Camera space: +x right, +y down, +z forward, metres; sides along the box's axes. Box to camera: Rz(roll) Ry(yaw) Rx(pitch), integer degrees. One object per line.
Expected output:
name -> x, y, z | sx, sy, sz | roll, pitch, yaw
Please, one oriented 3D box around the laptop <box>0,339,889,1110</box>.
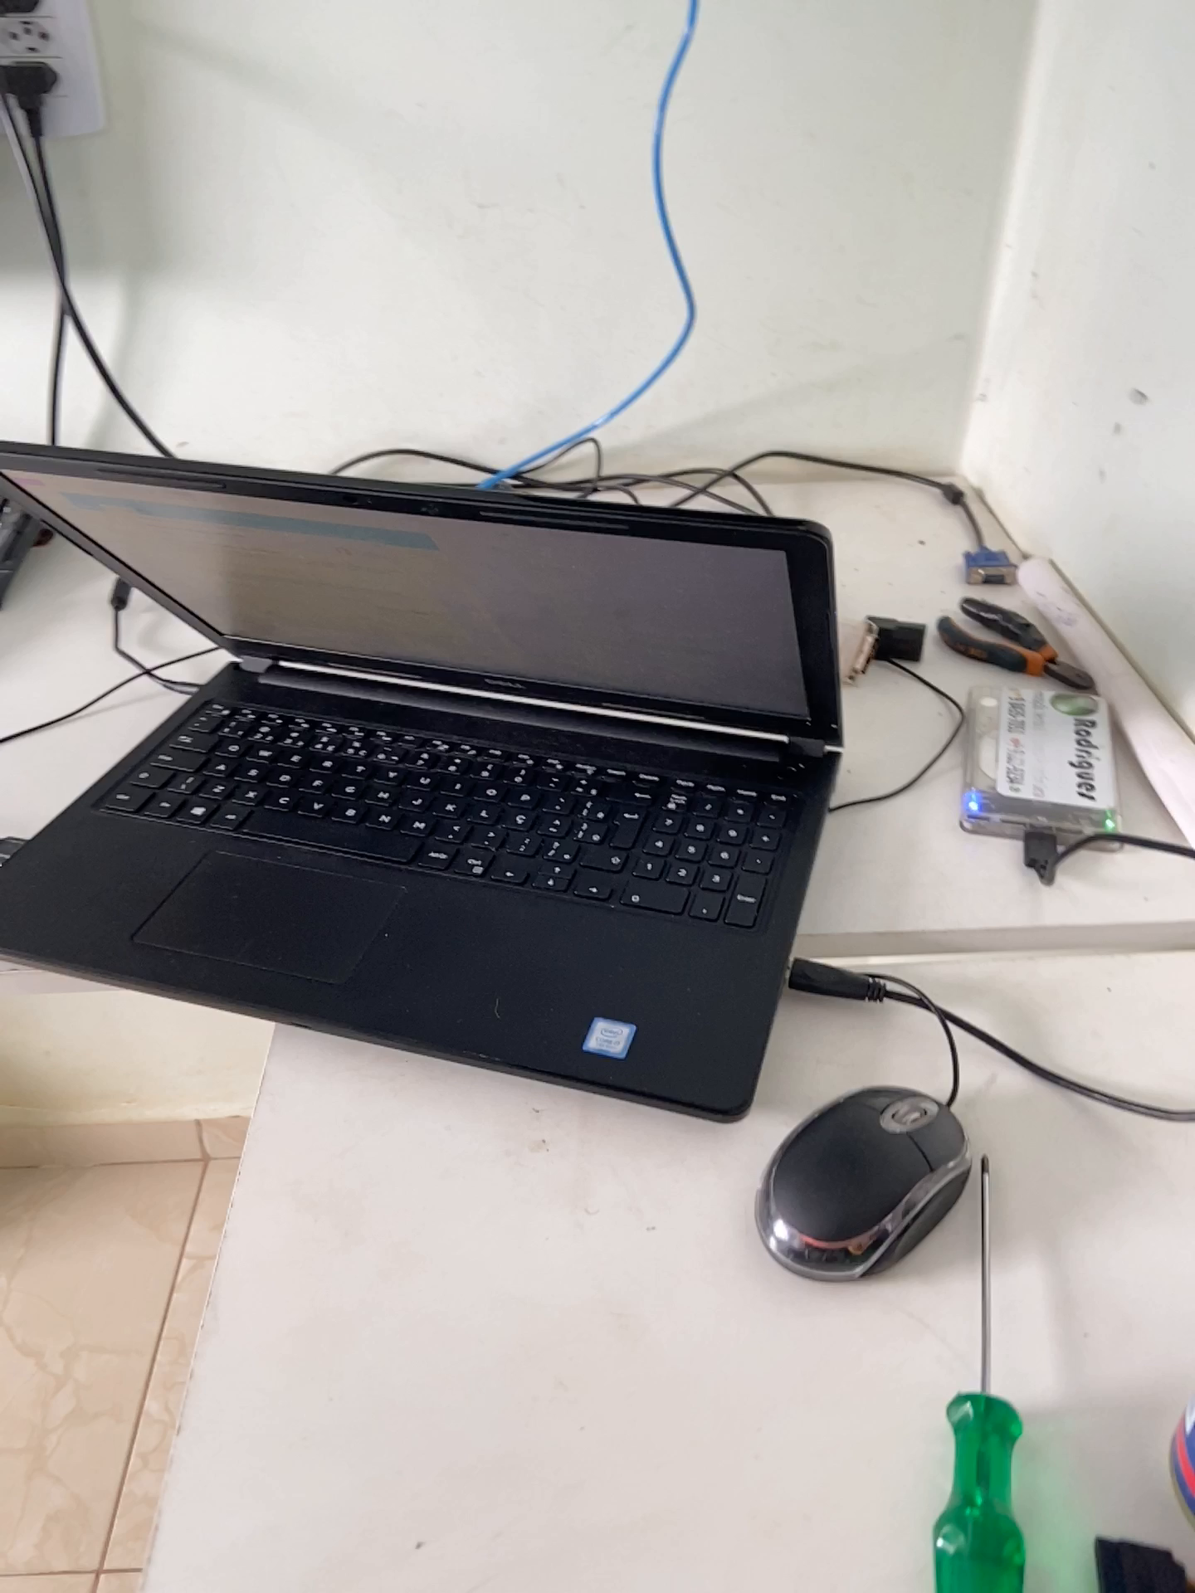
laptop -> -0.084, -0.060, 0.557 | 0.372, 0.192, 0.257 | 10, 37, 13
